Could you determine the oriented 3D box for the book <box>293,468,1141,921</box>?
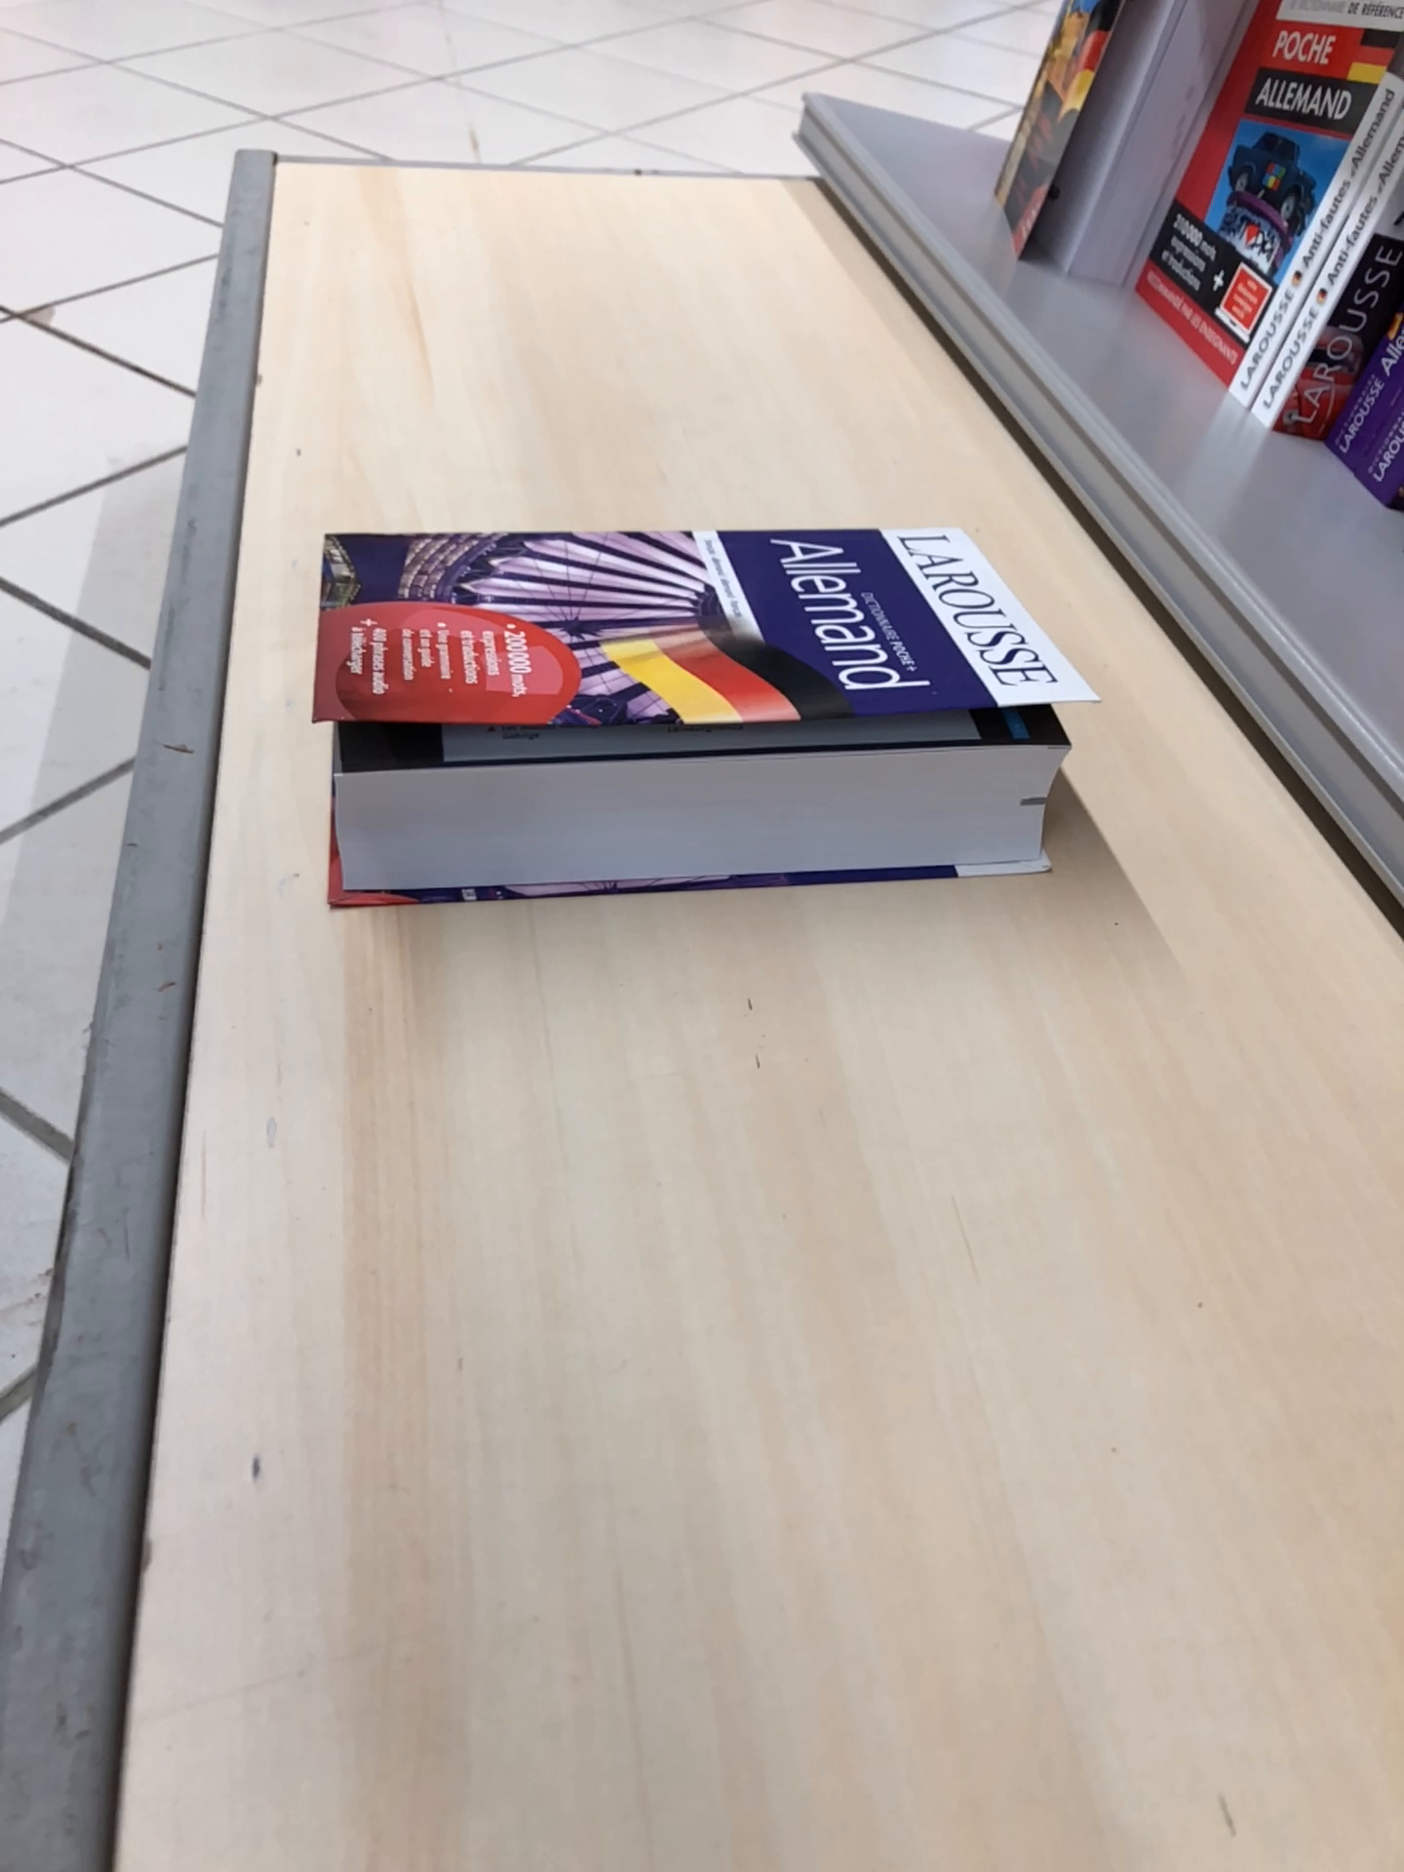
[{"bbox_3d":[-0.003,-0.066,0.387,0.181,0.050,0.121,-3,42,-9],"label":"book"}]
